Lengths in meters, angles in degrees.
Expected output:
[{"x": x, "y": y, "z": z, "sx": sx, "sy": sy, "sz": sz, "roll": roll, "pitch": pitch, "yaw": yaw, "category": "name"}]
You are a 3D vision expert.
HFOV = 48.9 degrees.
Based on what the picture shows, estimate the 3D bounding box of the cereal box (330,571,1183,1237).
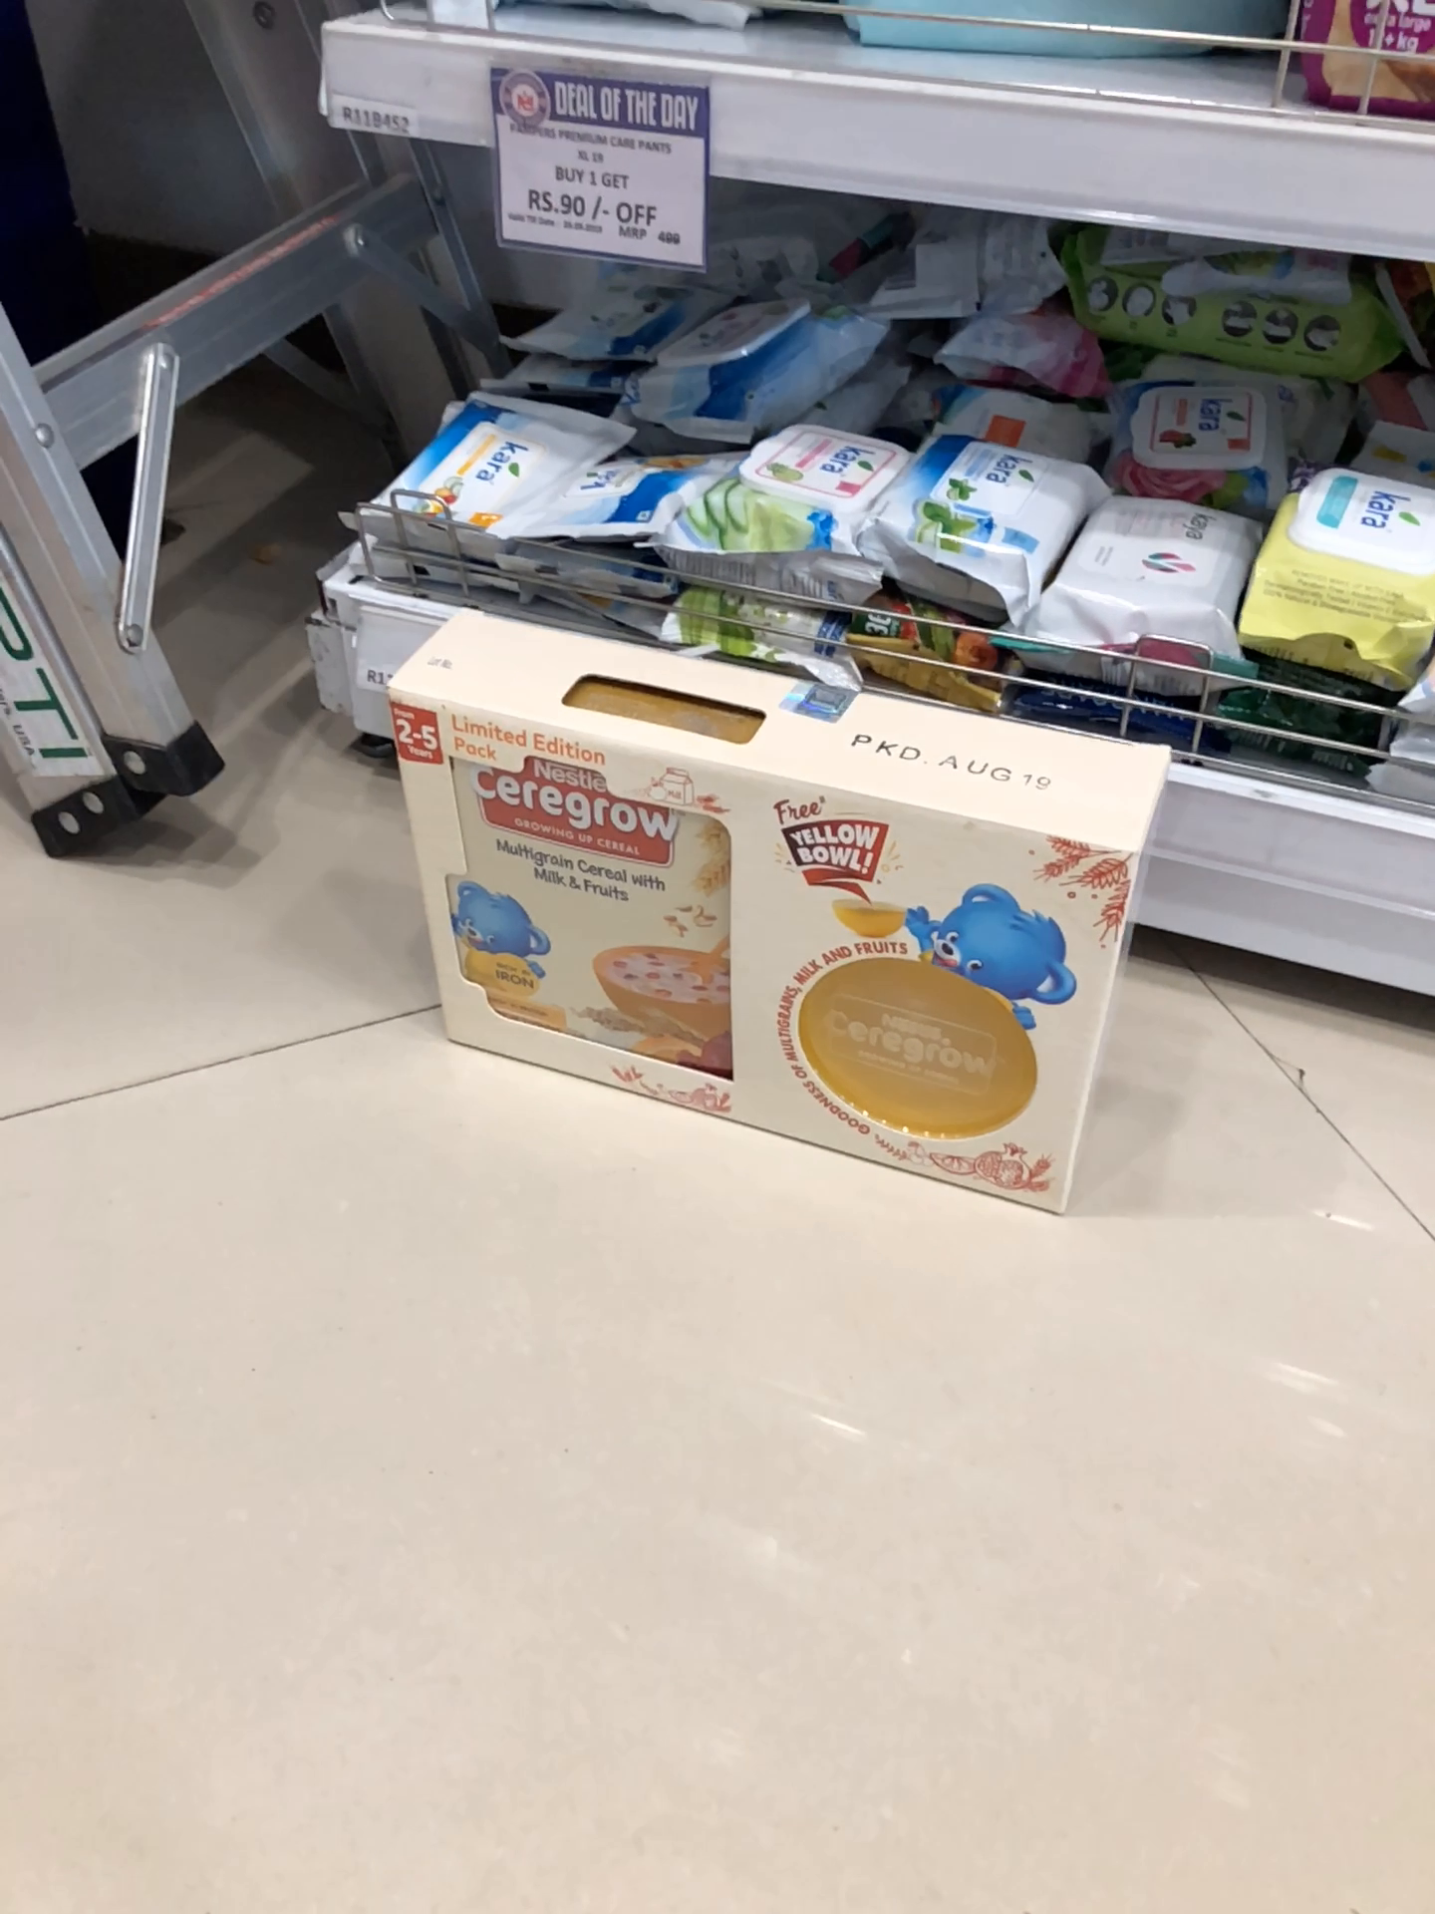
[{"x": 0.011, "y": -0.022, "z": 0.651, "sx": 0.310, "sy": 0.209, "sz": 0.070, "roll": 15, "pitch": 44, "yaw": 17, "category": "cereal box"}]
